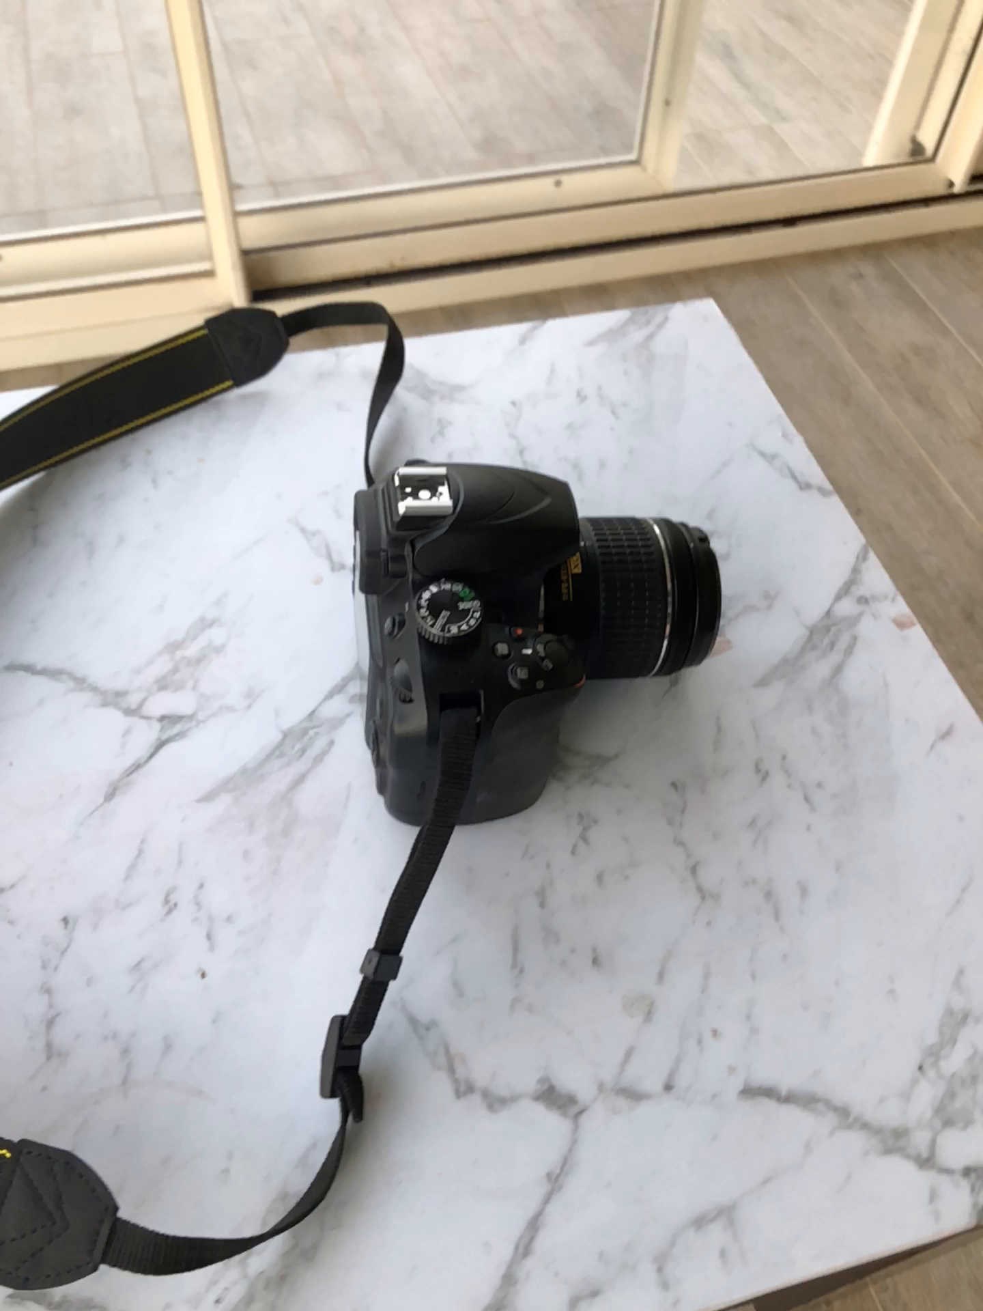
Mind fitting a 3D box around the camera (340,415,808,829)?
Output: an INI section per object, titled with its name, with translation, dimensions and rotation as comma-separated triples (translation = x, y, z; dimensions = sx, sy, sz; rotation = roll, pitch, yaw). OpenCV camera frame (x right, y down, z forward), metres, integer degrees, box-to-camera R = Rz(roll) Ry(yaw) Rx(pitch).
[camera]
translation = 0.019, -0.015, 0.395
dimensions = 0.138, 0.076, 0.122
rotation = -4, 53, -9
